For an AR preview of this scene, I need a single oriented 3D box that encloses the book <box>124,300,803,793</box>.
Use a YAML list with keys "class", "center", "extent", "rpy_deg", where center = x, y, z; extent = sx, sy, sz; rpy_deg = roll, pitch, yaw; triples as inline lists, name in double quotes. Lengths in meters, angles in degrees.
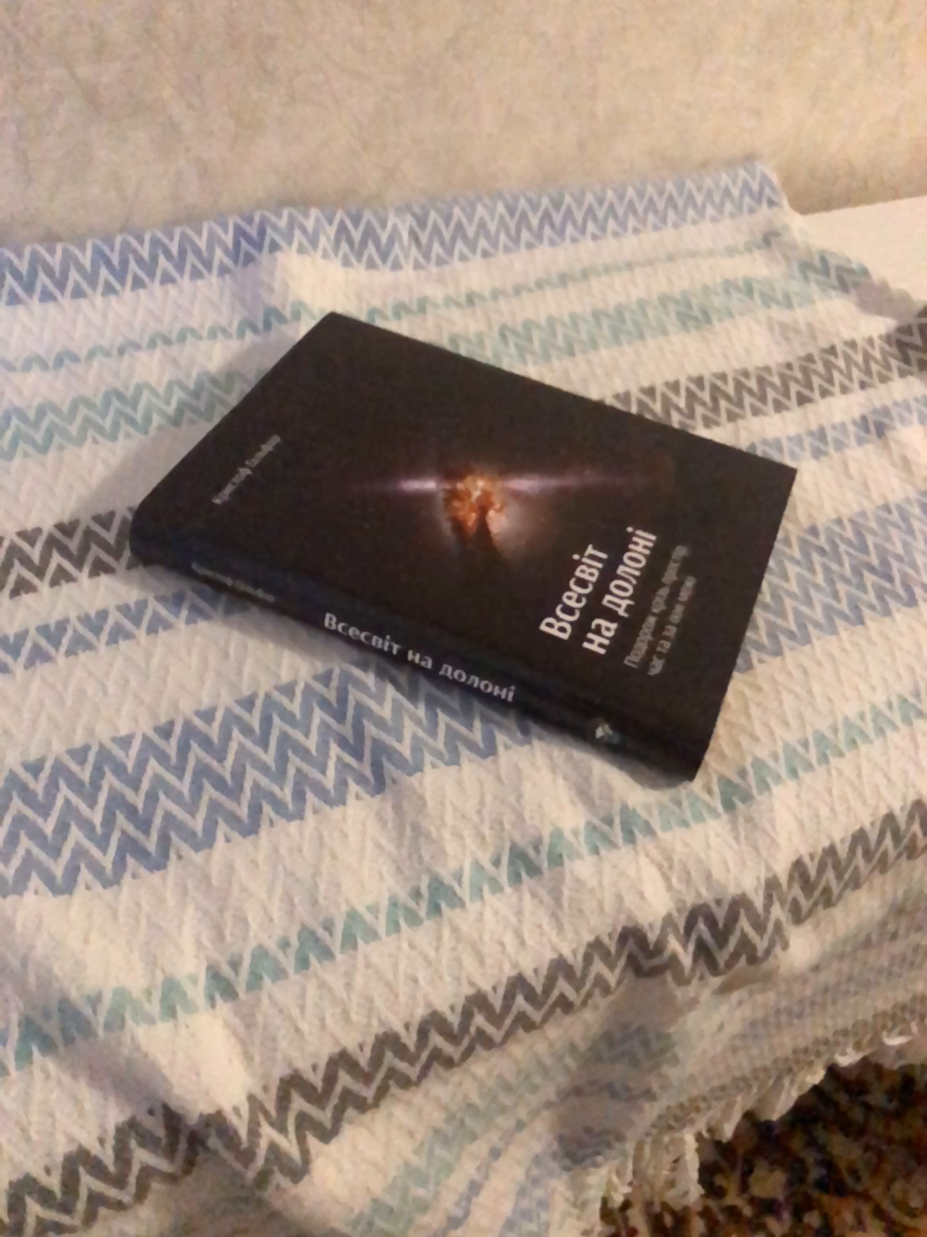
- class: "book"
  center: [0.008, -0.044, 0.416]
  extent: [0.224, 0.030, 0.162]
  rpy_deg: [21, 50, 11]
